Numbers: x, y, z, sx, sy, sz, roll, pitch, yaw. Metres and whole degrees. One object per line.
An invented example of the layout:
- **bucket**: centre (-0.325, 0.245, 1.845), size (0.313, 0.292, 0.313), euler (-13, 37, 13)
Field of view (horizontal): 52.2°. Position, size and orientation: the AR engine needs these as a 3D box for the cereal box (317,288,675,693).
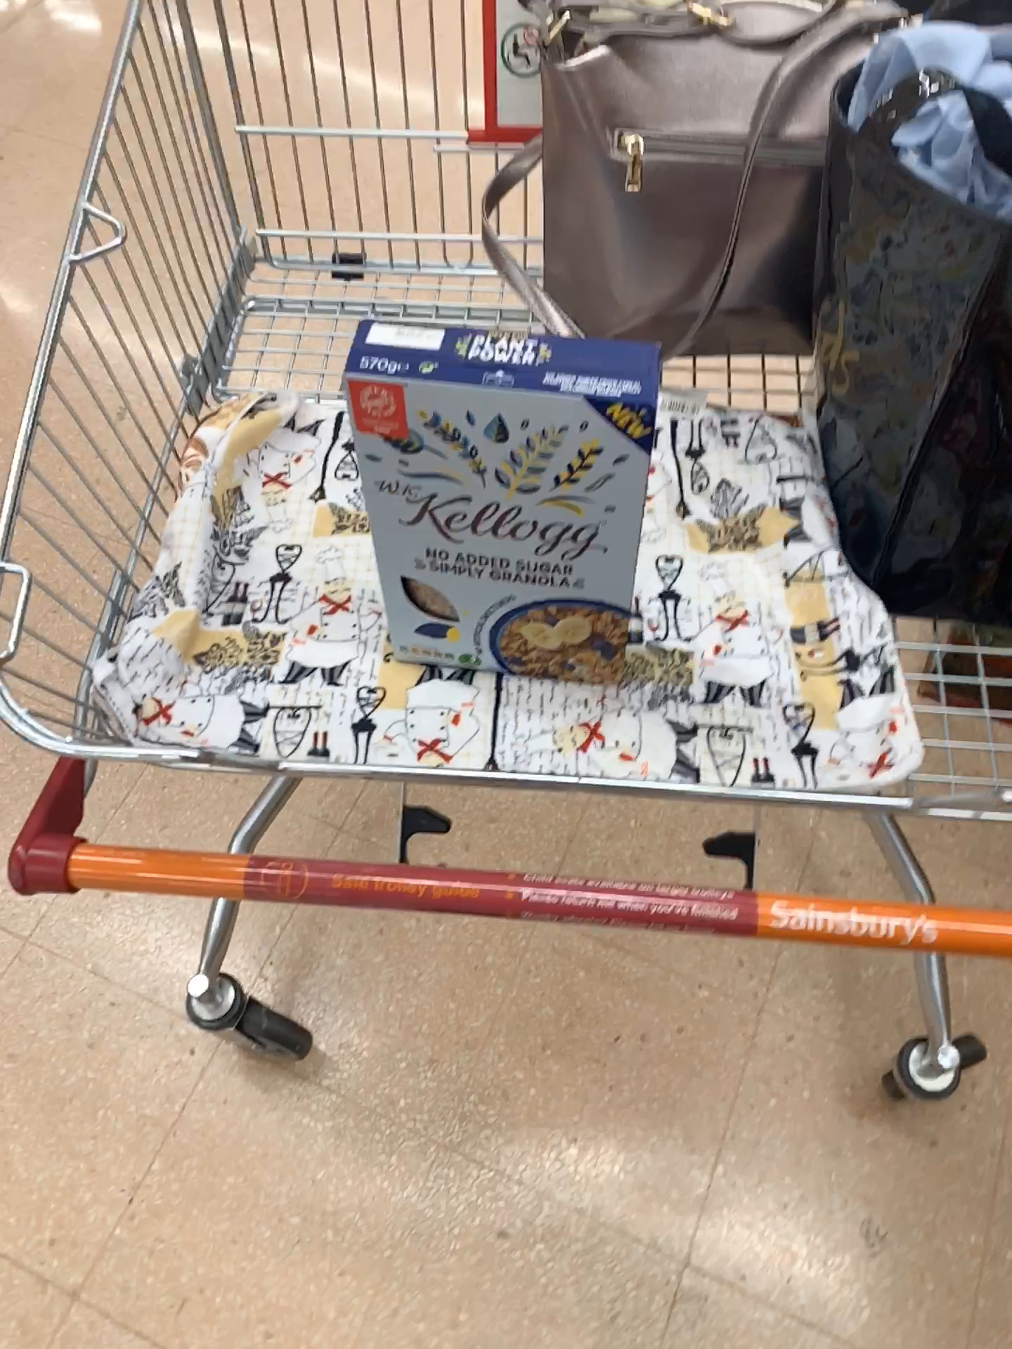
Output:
- **cereal box**: centre (-0.004, -0.093, 0.608), size (0.170, 0.248, 0.050), euler (8, 54, 6)
